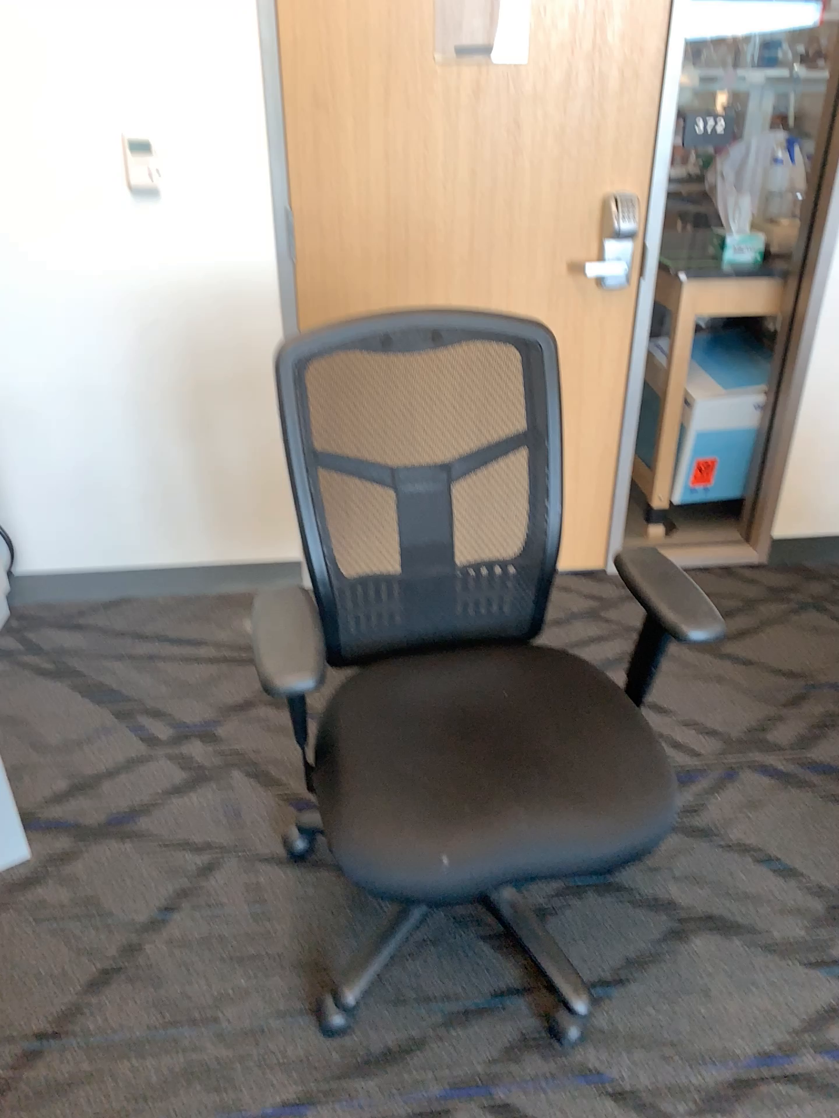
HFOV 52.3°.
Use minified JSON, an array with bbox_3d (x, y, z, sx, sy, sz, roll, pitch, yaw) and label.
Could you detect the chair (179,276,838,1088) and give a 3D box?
[{"bbox_3d":[0.069,0.140,1.358,0.660,0.992,0.726,-3,28,-6],"label":"chair"}]
